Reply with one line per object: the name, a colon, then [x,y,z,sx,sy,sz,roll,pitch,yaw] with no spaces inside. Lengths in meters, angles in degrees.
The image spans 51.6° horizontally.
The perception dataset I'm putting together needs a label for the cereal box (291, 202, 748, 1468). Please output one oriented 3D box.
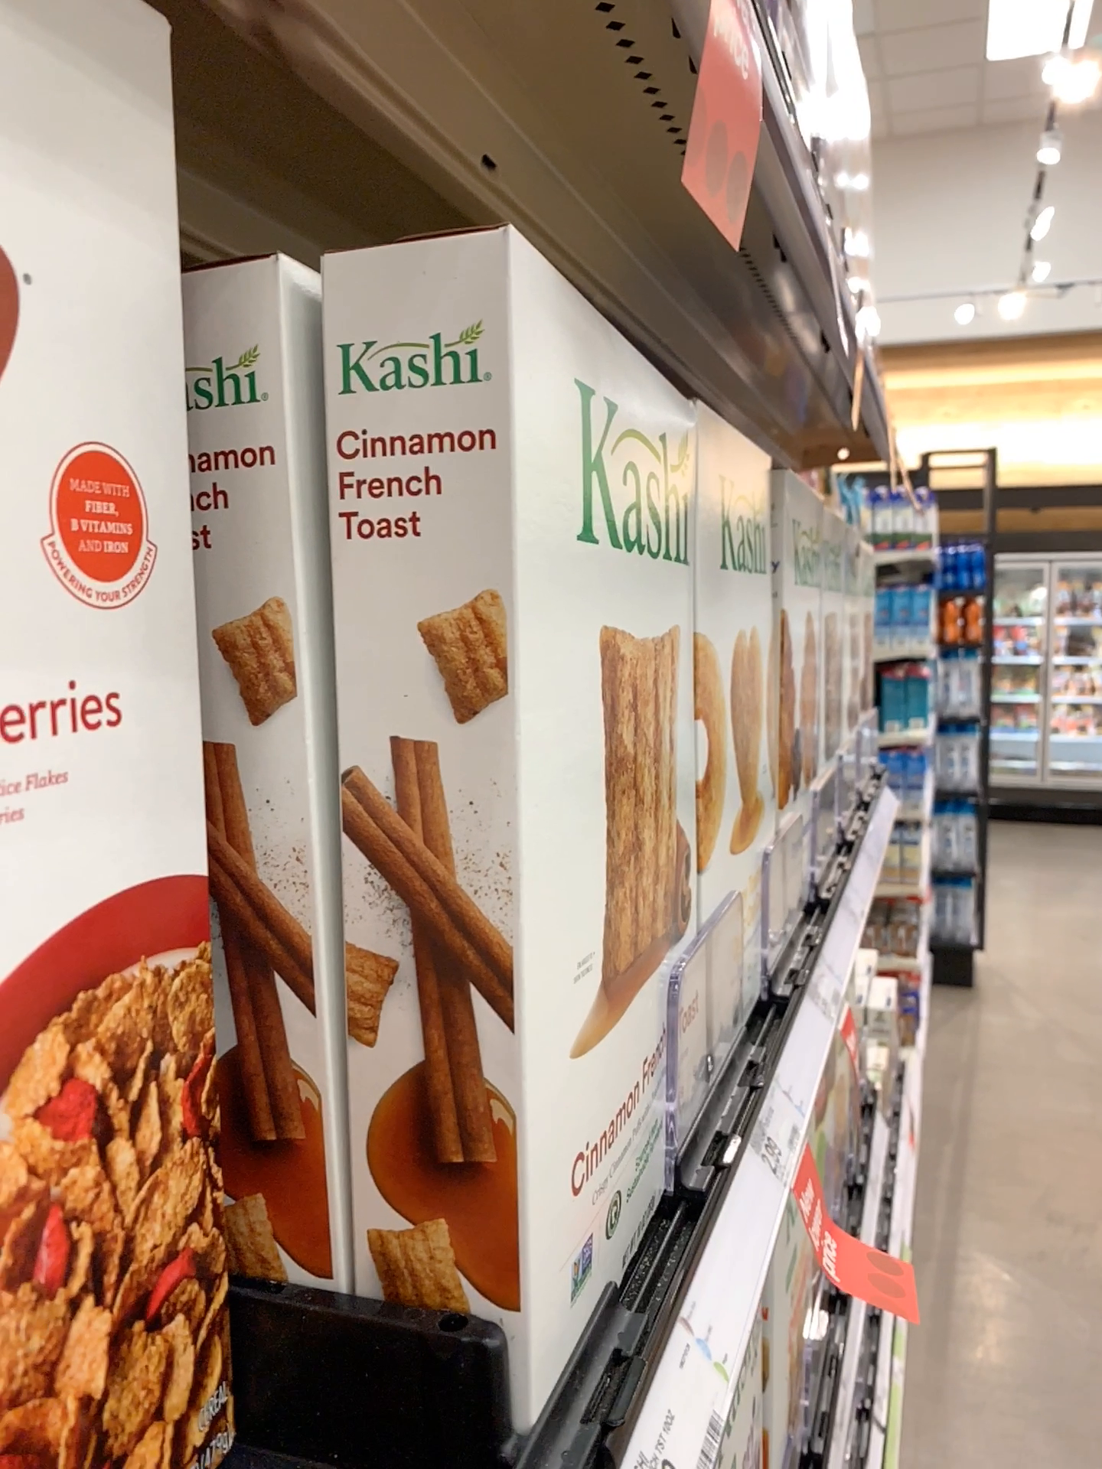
cereal box: [0.010,0.017,0.347,0.060,0.270,0.210,0,5,19]
